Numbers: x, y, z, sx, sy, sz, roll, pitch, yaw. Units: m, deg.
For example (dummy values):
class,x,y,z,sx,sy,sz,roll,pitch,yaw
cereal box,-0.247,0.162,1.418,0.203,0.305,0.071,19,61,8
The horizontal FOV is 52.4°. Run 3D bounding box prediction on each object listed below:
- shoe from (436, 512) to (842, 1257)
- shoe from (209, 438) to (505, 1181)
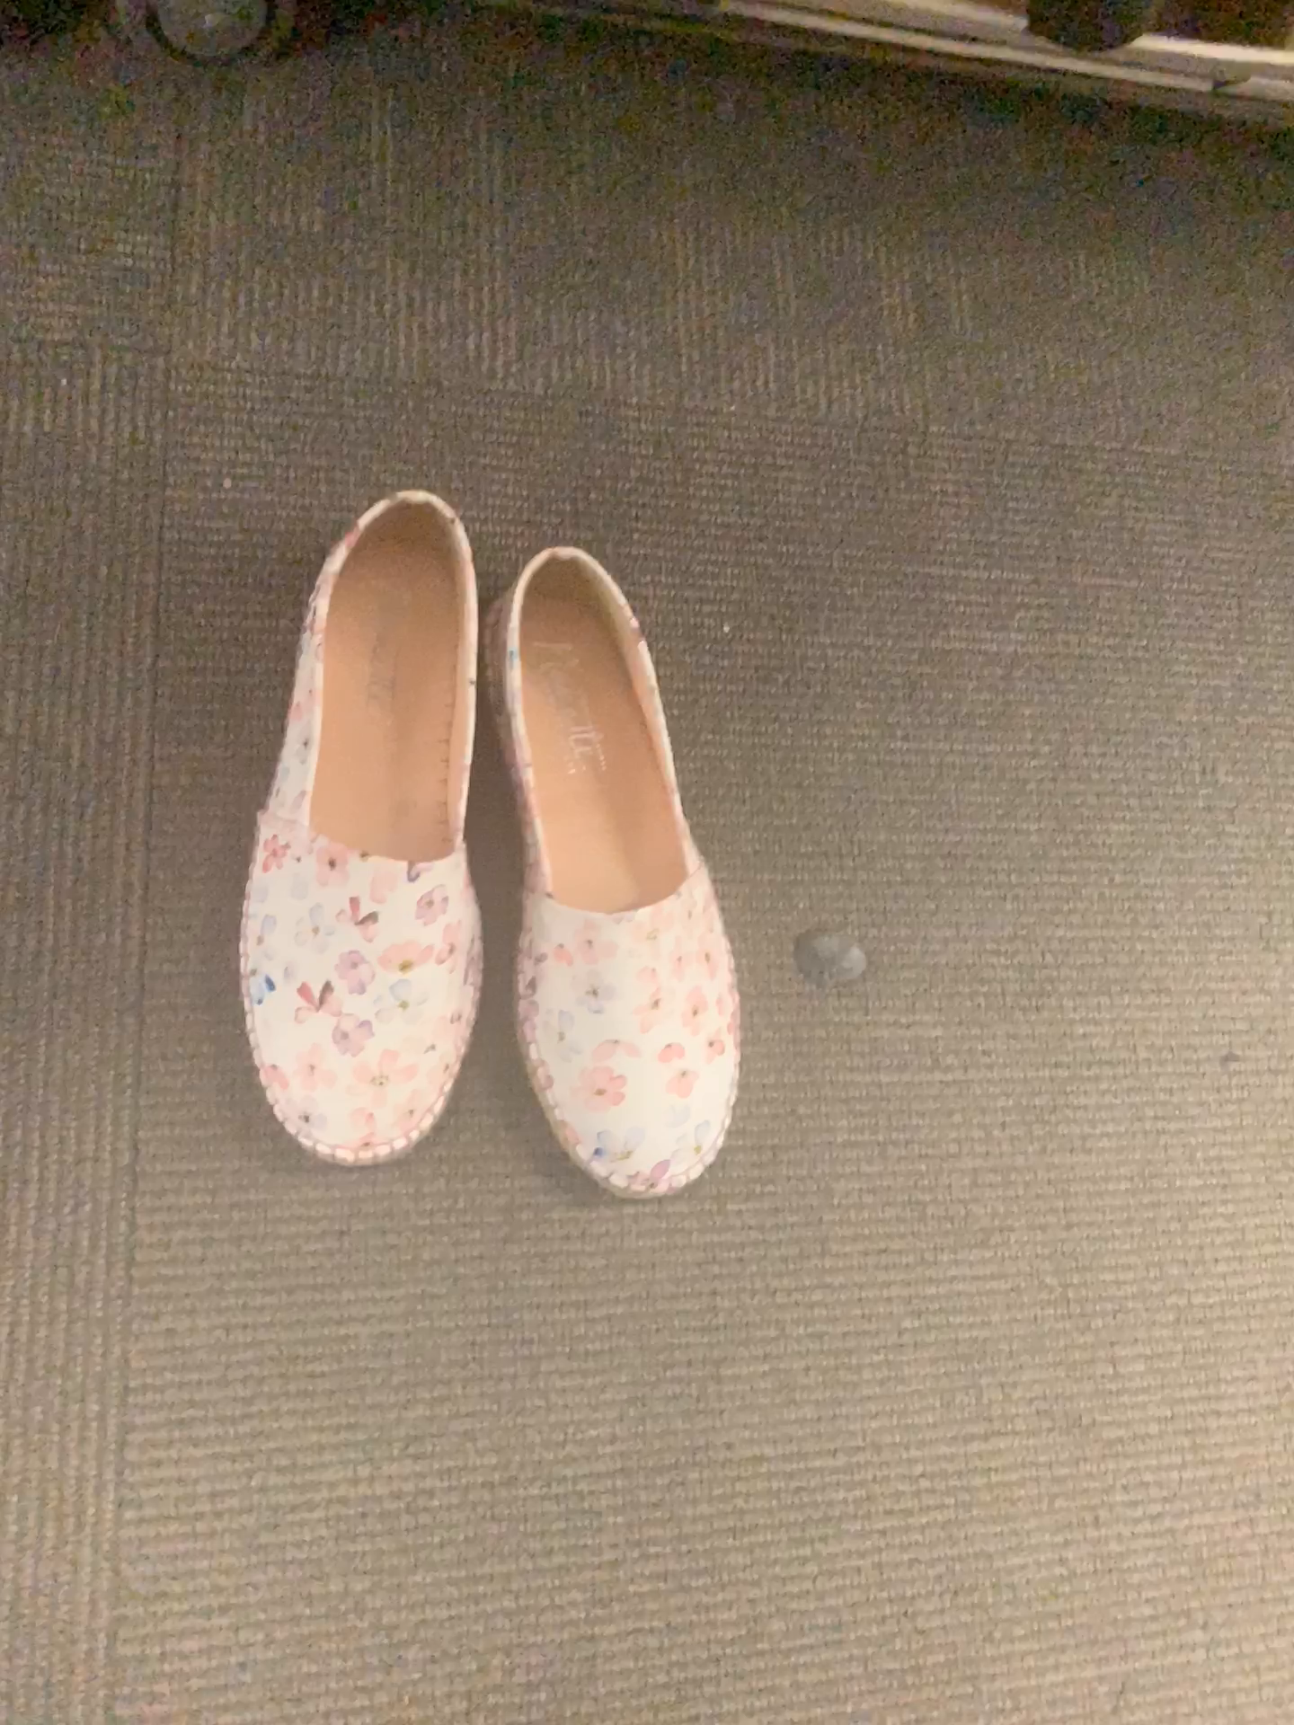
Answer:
class,x,y,z,sx,sy,sz,roll,pitch,yaw
shoe,-0.011,0.007,0.513,0.091,0.080,0.263,-9,79,-15
shoe,-0.105,-0.016,0.498,0.091,0.080,0.263,2,77,-12
